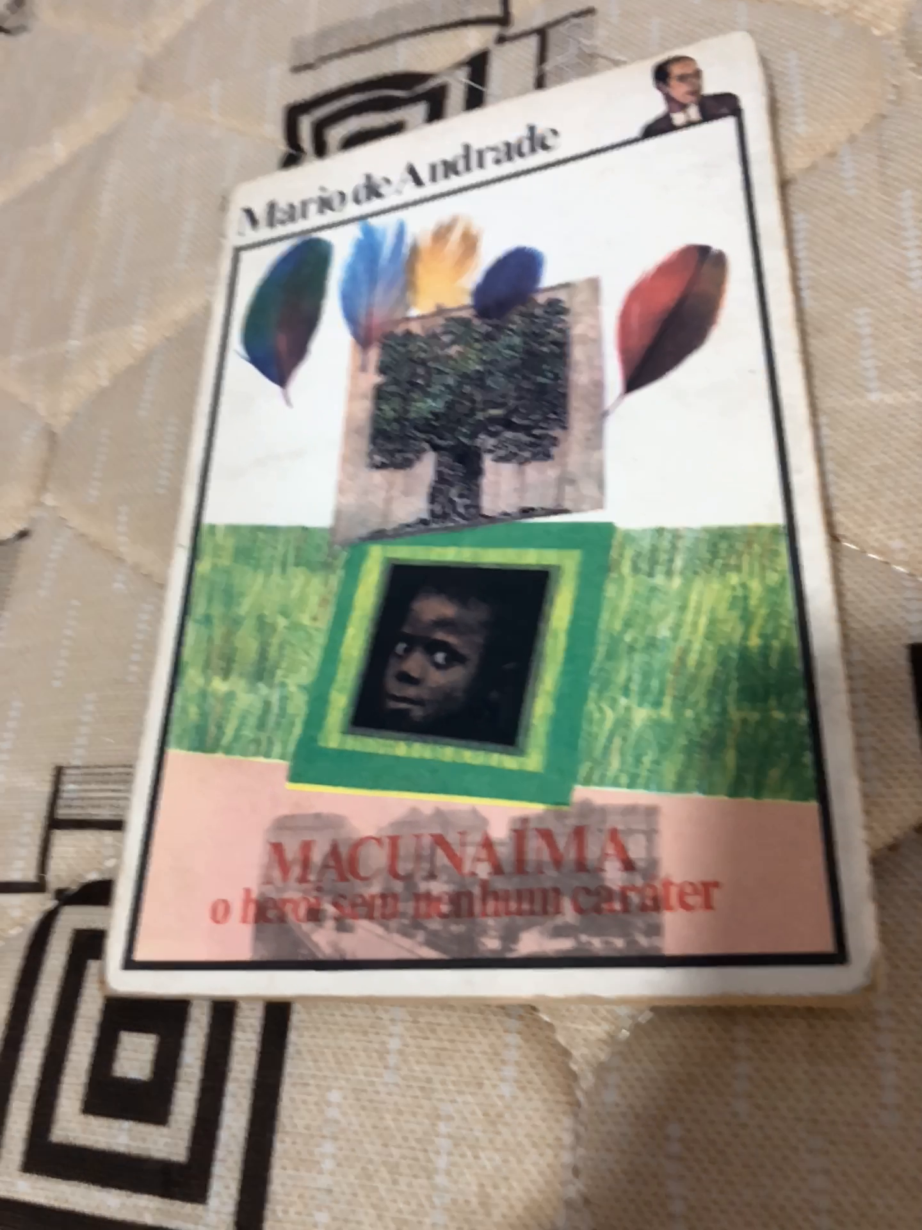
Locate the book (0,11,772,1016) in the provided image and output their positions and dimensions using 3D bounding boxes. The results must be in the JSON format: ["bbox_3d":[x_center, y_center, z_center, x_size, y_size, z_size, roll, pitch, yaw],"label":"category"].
[{"bbox_3d":[-0.017,-0.025,0.200,0.130,0.020,0.190,-7,64,19],"label":"book"}]
